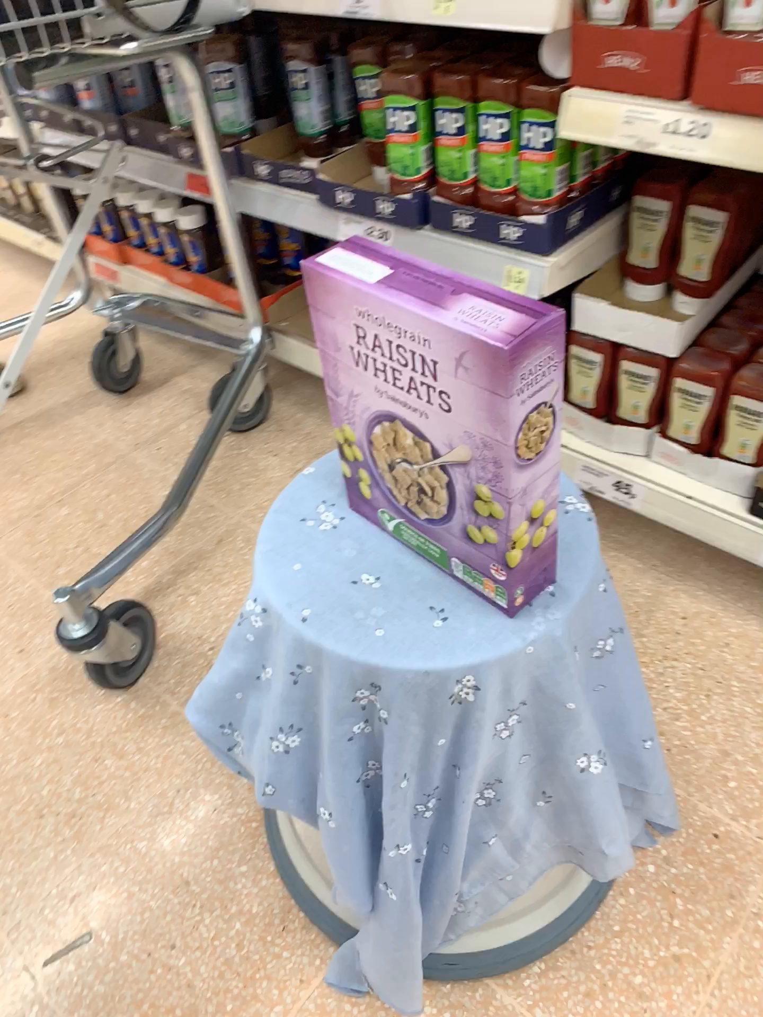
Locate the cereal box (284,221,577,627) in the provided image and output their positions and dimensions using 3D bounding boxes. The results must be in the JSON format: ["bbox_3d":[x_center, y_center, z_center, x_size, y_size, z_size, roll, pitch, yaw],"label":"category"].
[{"bbox_3d":[0.034,-0.060,0.569,0.060,0.238,0.201,-35,49,-26],"label":"cereal box"}]
